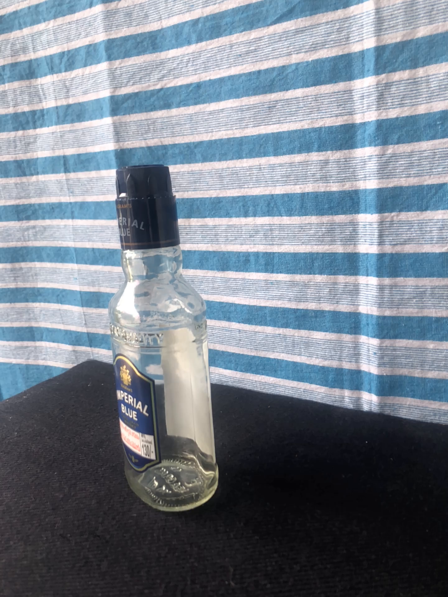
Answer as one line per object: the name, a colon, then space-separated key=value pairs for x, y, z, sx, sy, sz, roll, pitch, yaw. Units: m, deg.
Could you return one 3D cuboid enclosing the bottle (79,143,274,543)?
bottle: x=-0.021 y=0.016 z=0.241 sx=0.050 sy=0.169 sz=0.070 roll=-15 pitch=19 yaw=-38
